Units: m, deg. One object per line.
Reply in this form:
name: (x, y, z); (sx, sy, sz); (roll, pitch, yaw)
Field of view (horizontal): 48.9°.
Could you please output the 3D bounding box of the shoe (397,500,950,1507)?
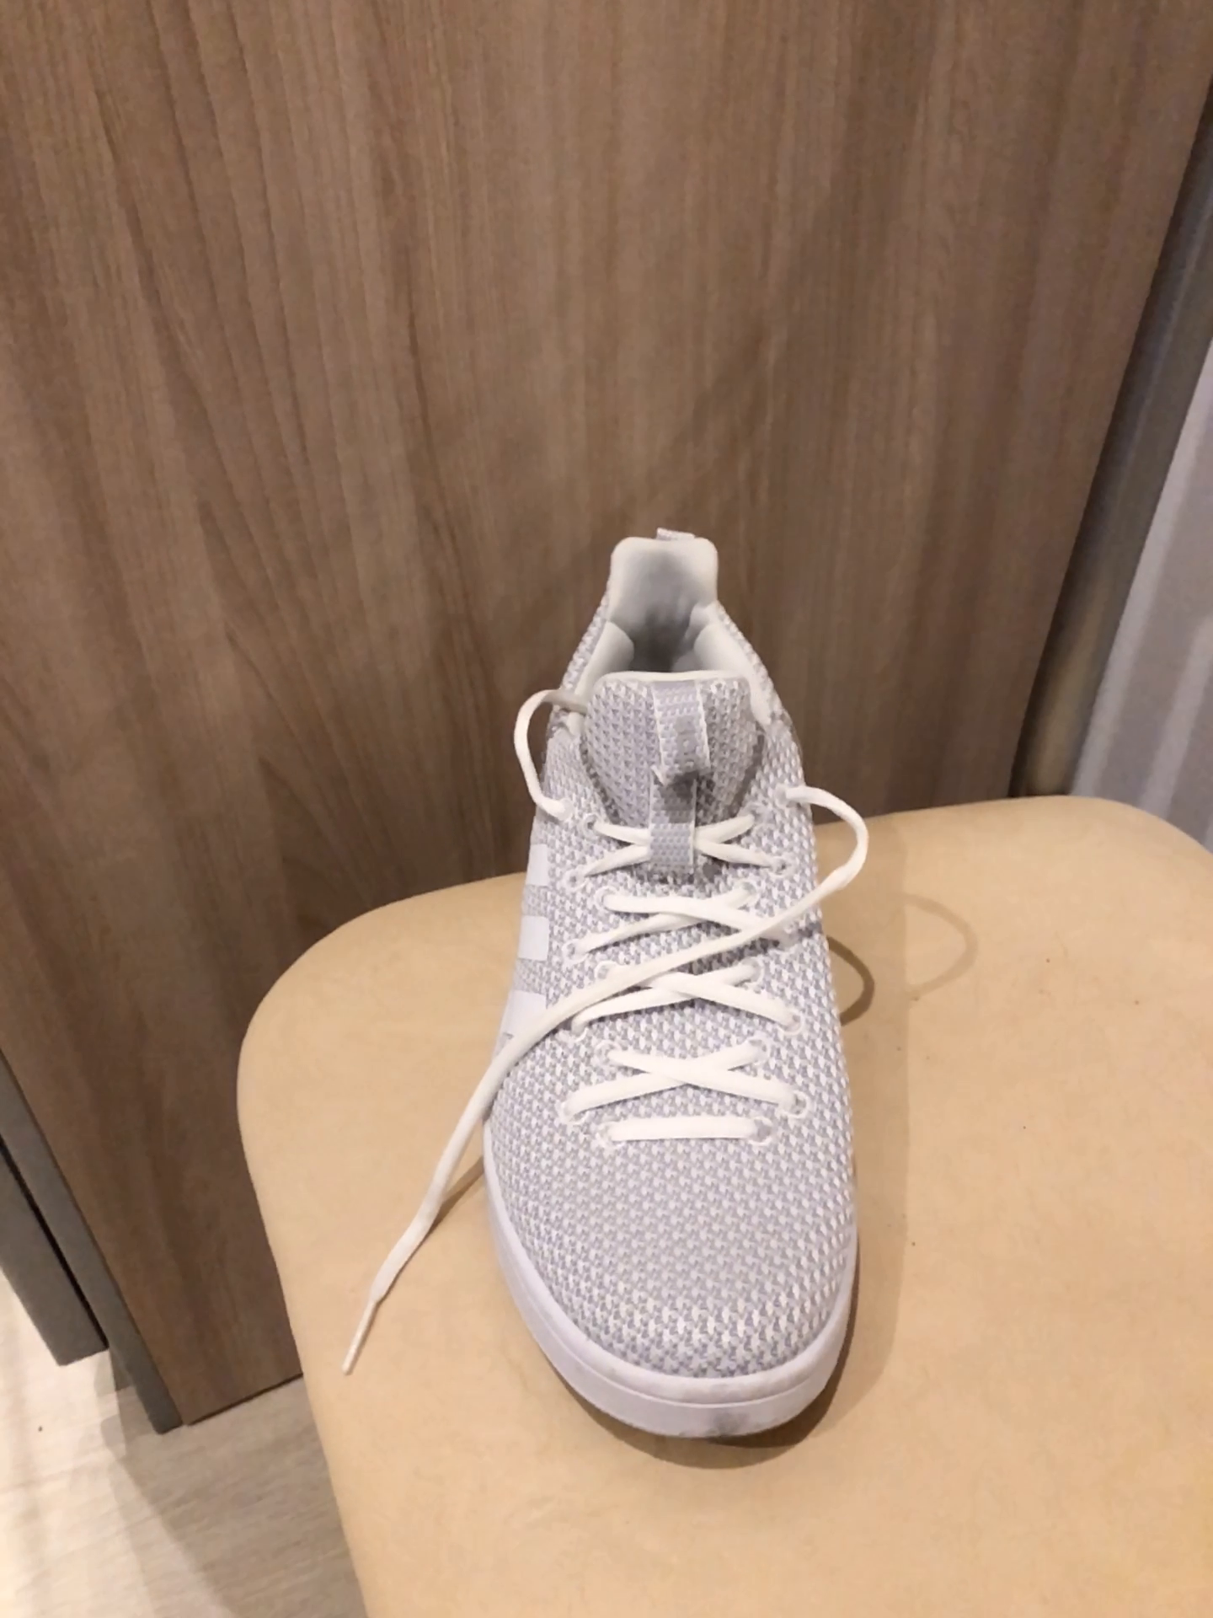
shoe: (0.015, 0.035, 0.422); (0.110, 0.129, 0.302); (-1, 41, 1)
